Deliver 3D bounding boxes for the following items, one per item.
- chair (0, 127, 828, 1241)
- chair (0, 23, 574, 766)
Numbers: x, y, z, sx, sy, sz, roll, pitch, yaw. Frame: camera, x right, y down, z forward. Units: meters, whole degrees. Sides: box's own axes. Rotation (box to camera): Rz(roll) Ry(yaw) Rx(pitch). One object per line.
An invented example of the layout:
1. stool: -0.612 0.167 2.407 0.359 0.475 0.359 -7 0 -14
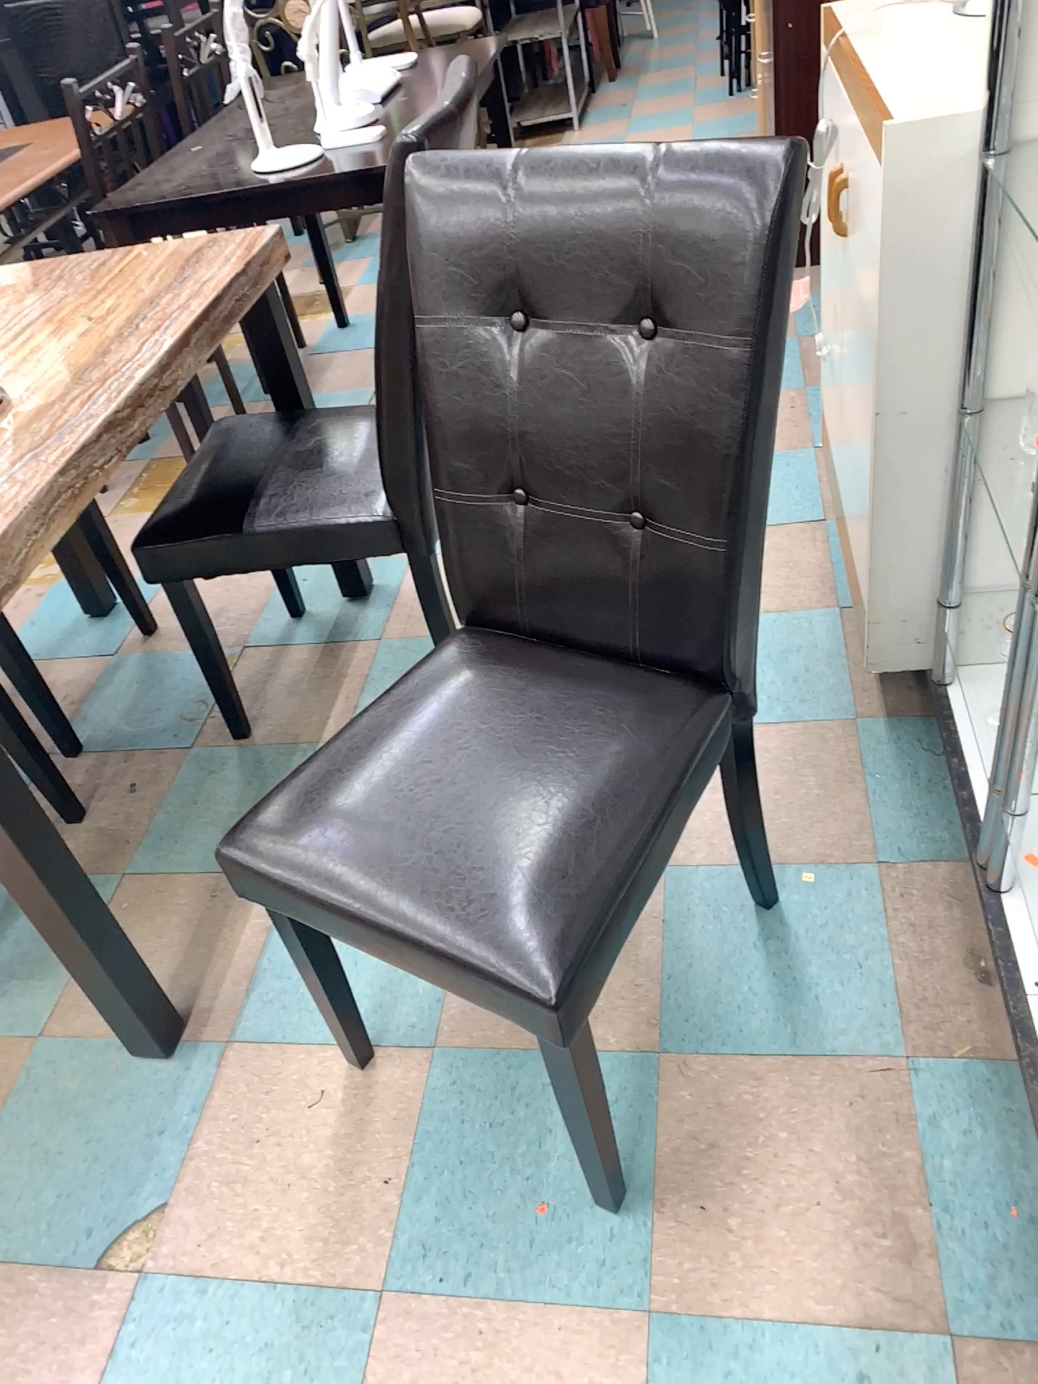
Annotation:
1. chair: -0.001 0.010 1.135 0.471 0.955 0.572 16 48 31
2. chair: -0.314 -0.472 1.805 0.650 0.955 0.673 -5 40 11
